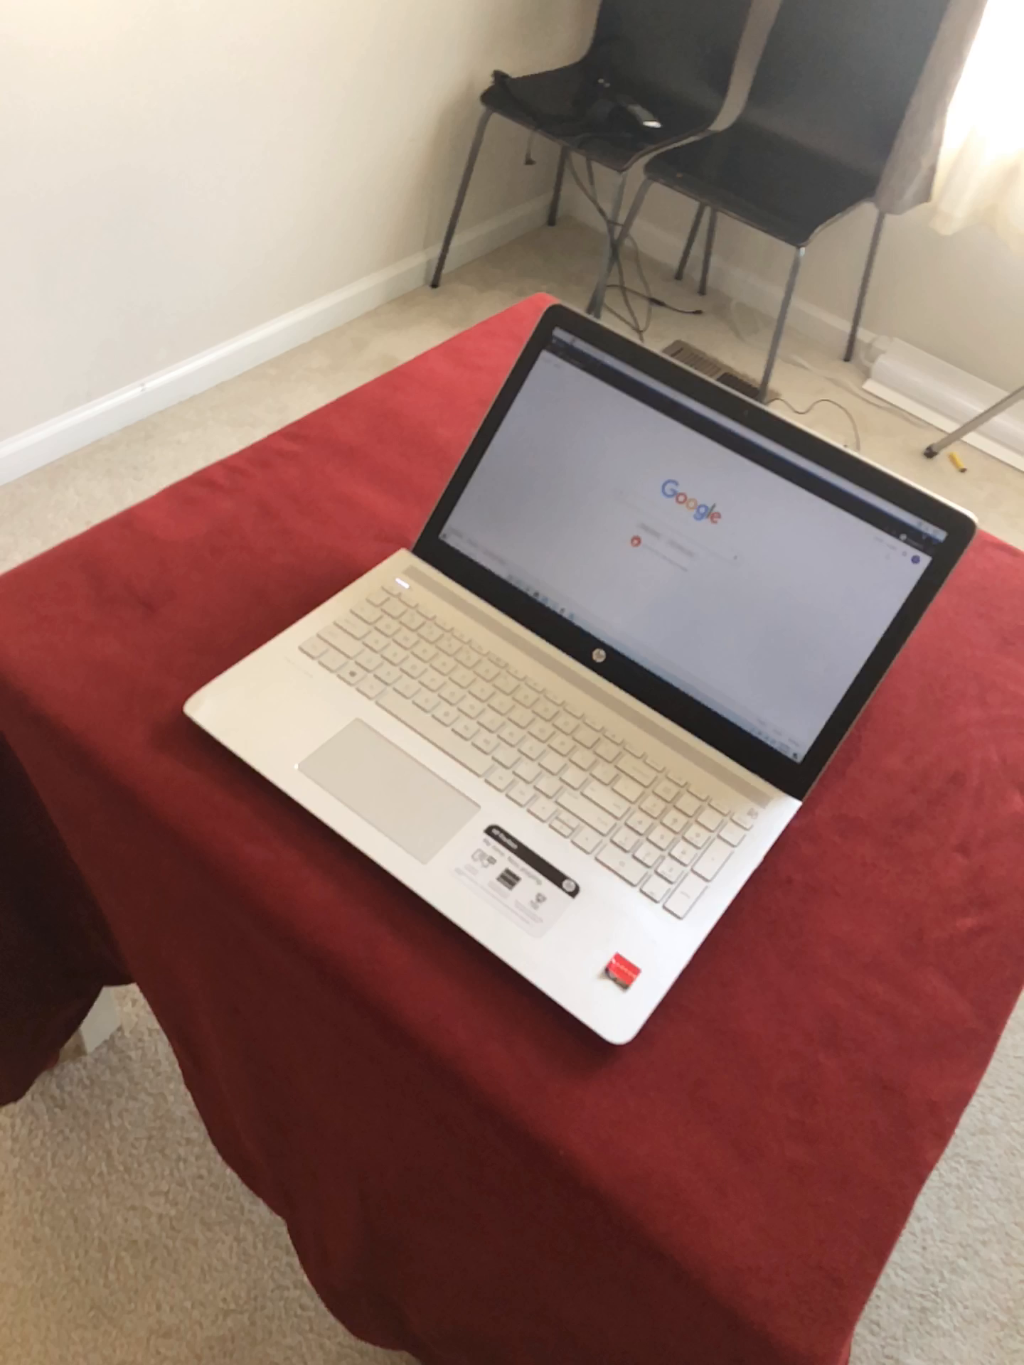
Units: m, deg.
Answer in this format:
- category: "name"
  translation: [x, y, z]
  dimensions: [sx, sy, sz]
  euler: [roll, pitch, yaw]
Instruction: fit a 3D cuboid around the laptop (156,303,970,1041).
- category: "laptop"
  translation: [0.043, -0.045, 0.767]
  dimensions: [0.360, 0.158, 0.397]
  euler: [34, 51, 18]
